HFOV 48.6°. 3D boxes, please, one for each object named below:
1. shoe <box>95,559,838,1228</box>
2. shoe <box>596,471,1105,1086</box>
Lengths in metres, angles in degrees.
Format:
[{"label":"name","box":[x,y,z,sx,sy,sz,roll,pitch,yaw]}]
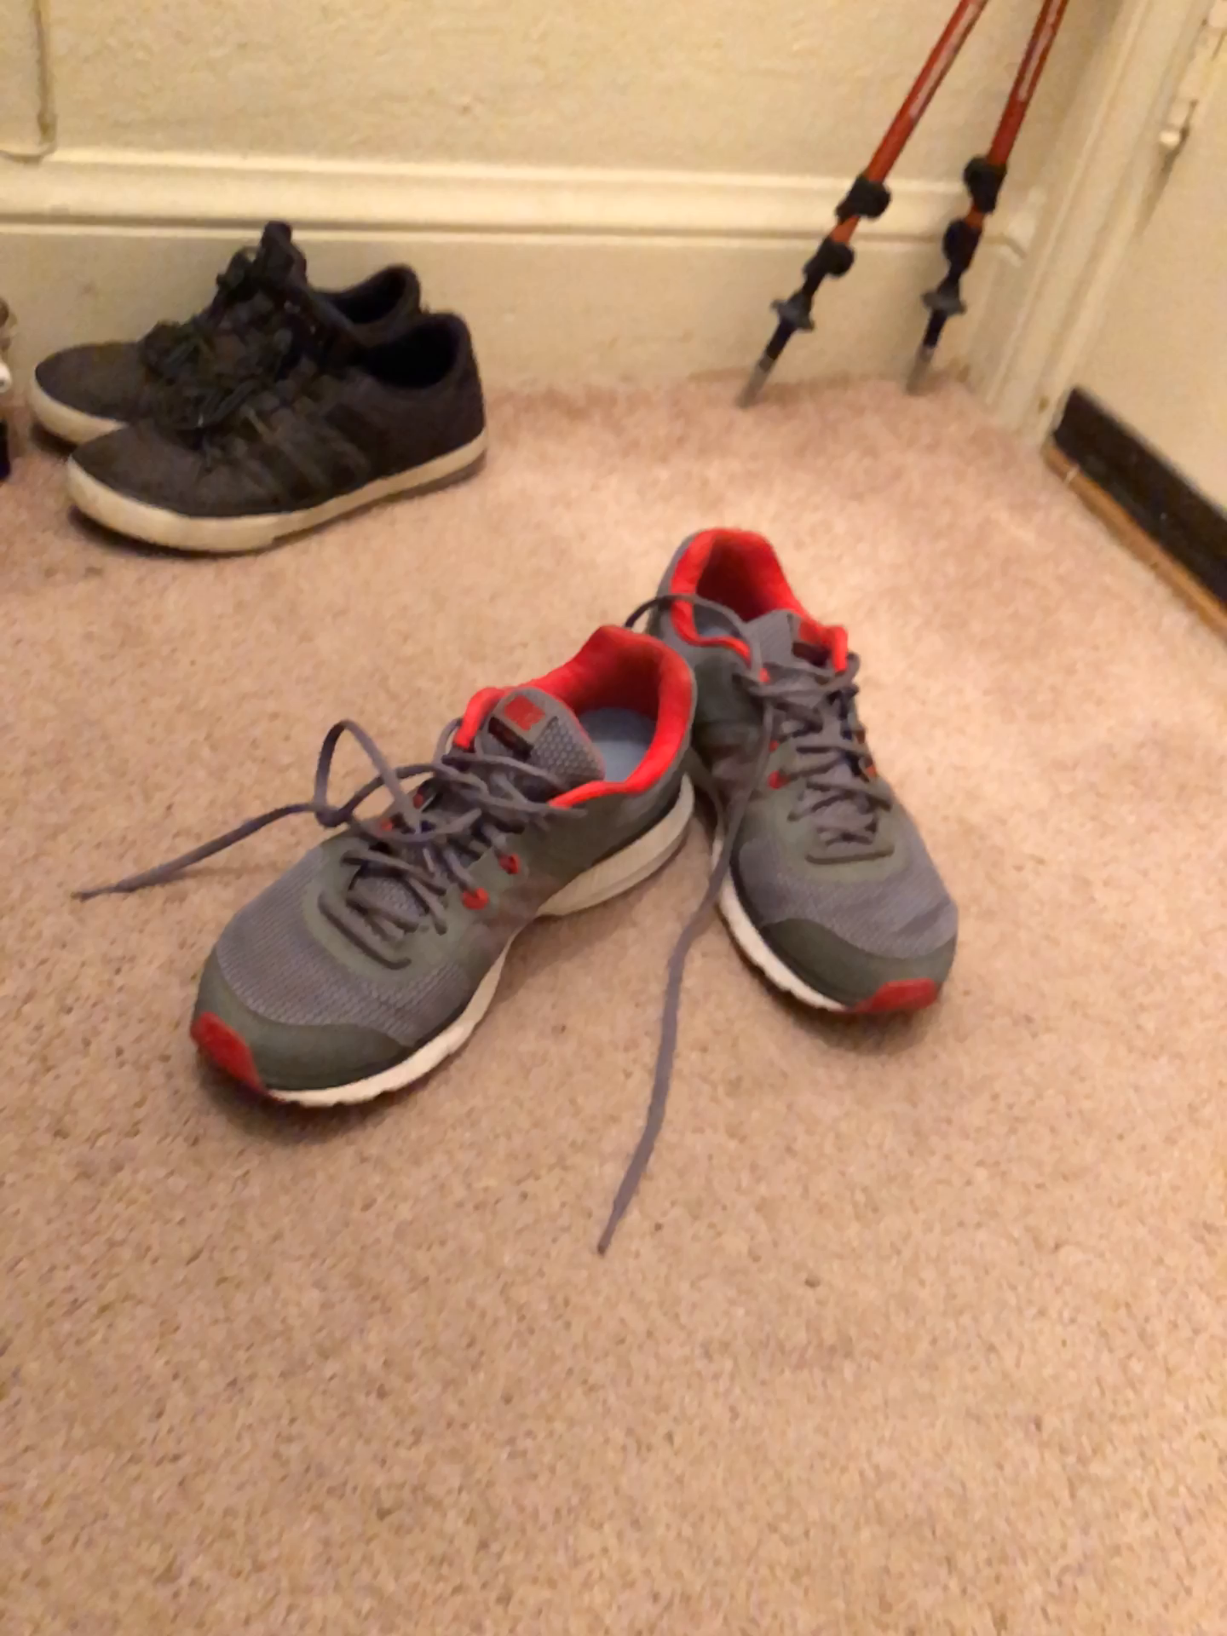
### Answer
[{"label":"shoe","box":[-0.050,0.015,0.583,0.113,0.119,0.299,38,50,24]},{"label":"shoe","box":[0.093,-0.036,0.665,0.113,0.119,0.299,-5,47,-18]}]
